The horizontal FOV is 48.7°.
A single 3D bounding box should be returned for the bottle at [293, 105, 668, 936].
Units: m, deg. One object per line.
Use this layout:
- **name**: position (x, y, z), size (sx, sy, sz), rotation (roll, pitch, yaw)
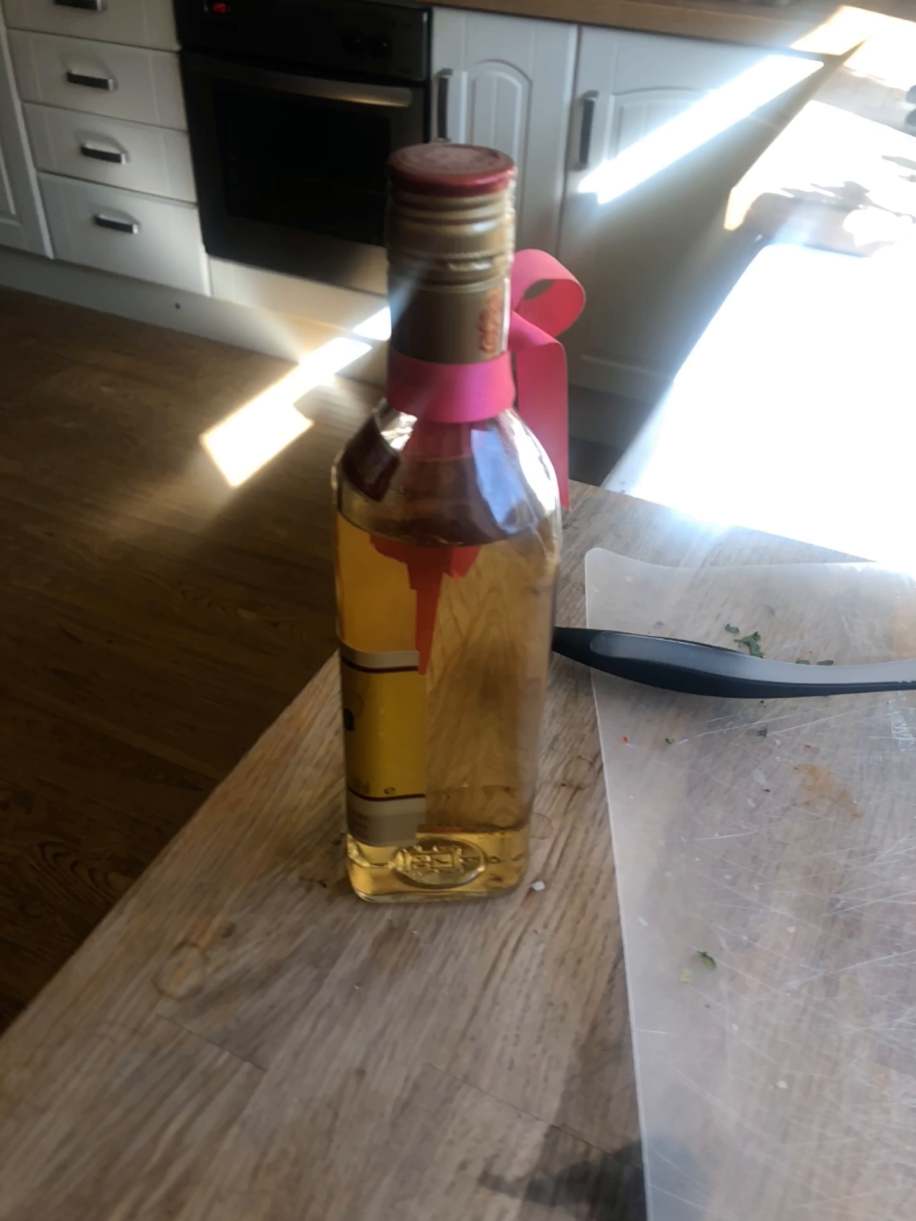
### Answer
- **bottle**: position (-0.003, -0.010, 0.290), size (0.070, 0.228, 0.081), rotation (-2, 39, -6)
